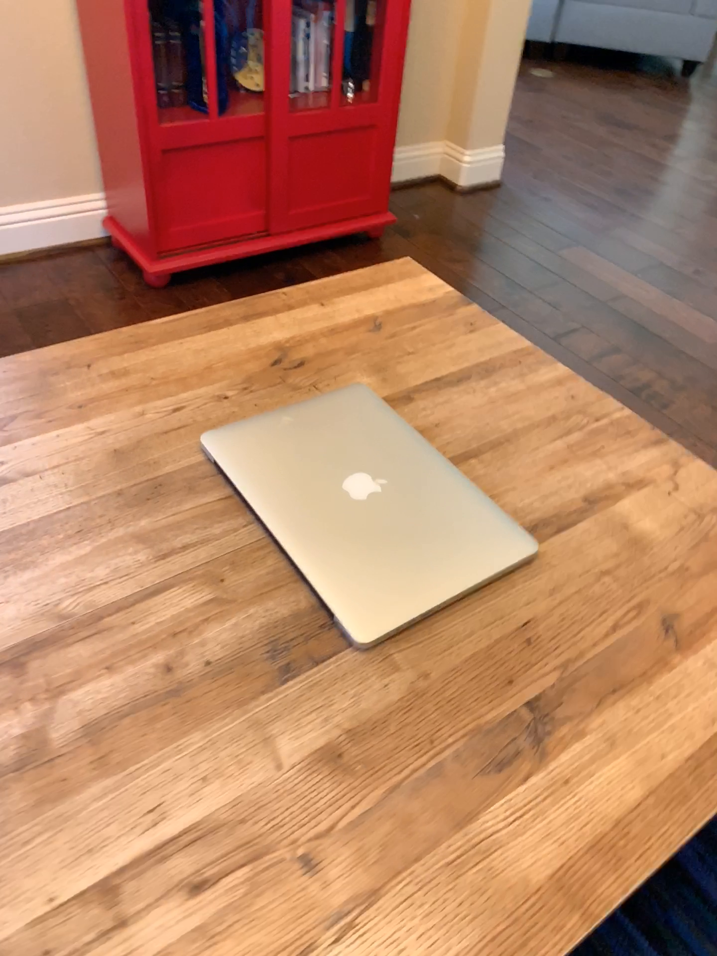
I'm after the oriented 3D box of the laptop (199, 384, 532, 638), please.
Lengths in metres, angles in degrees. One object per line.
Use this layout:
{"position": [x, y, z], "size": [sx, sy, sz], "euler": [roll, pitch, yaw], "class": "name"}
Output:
{"position": [-0.001, 0.011, 0.747], "size": [0.208, 0.002, 0.299], "euler": [-21, 50, -28], "class": "laptop"}
